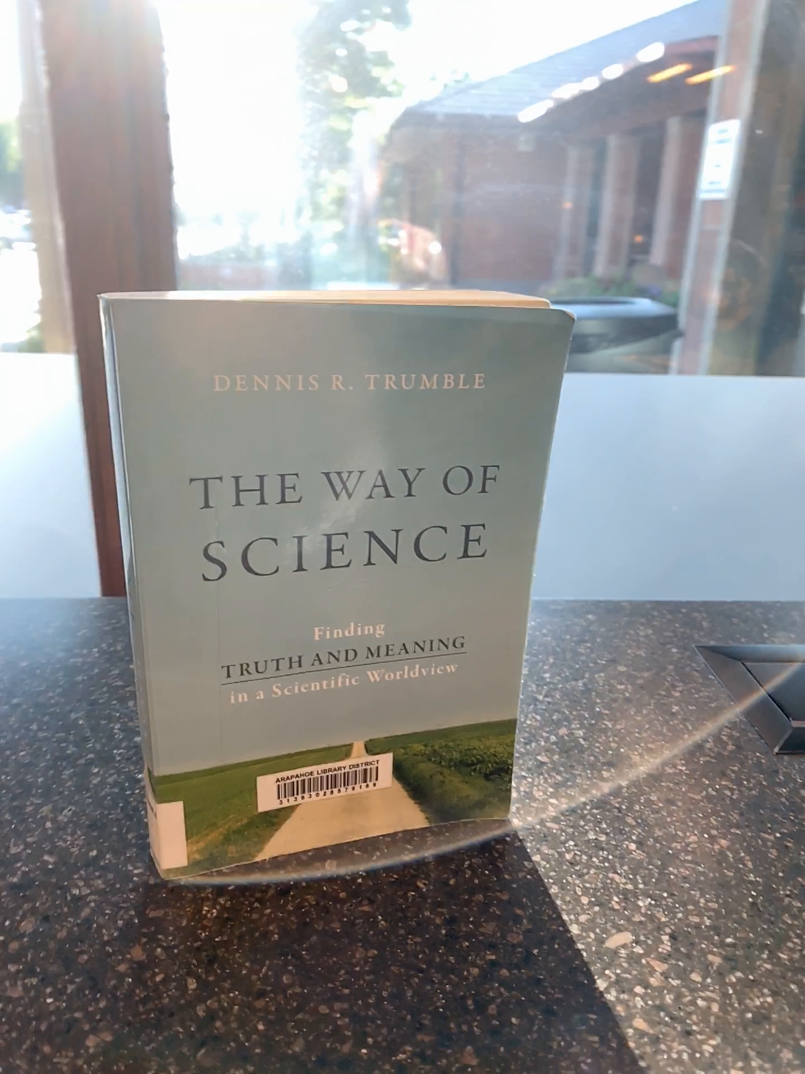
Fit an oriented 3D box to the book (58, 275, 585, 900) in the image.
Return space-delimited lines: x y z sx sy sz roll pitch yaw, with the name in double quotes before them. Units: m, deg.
"book" -0.027 0.018 0.314 0.167 0.219 0.040 -5 21 -18
